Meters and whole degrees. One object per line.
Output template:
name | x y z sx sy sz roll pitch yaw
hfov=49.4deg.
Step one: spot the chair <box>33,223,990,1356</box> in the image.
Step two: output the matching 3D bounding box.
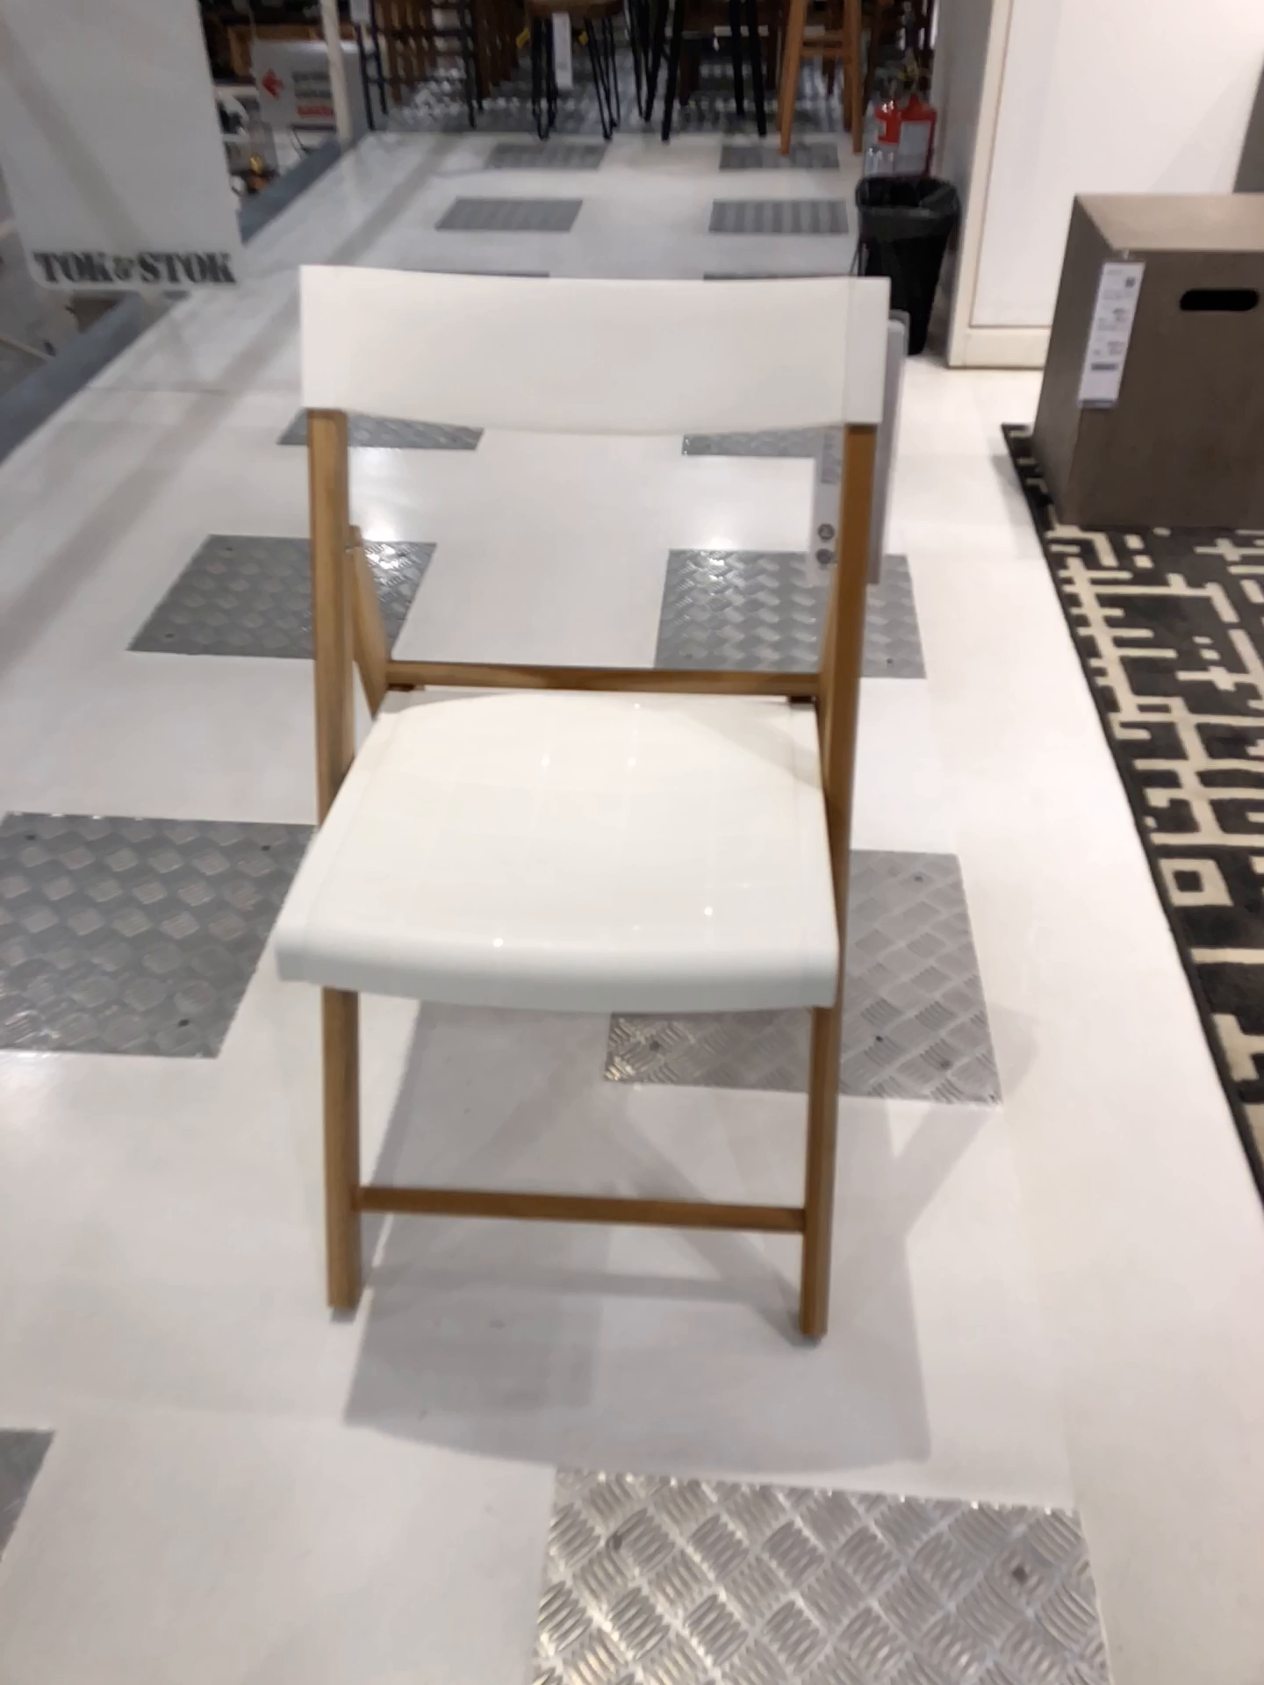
chair | -0.041 -0.050 1.104 0.470 0.705 0.554 2 38 3
